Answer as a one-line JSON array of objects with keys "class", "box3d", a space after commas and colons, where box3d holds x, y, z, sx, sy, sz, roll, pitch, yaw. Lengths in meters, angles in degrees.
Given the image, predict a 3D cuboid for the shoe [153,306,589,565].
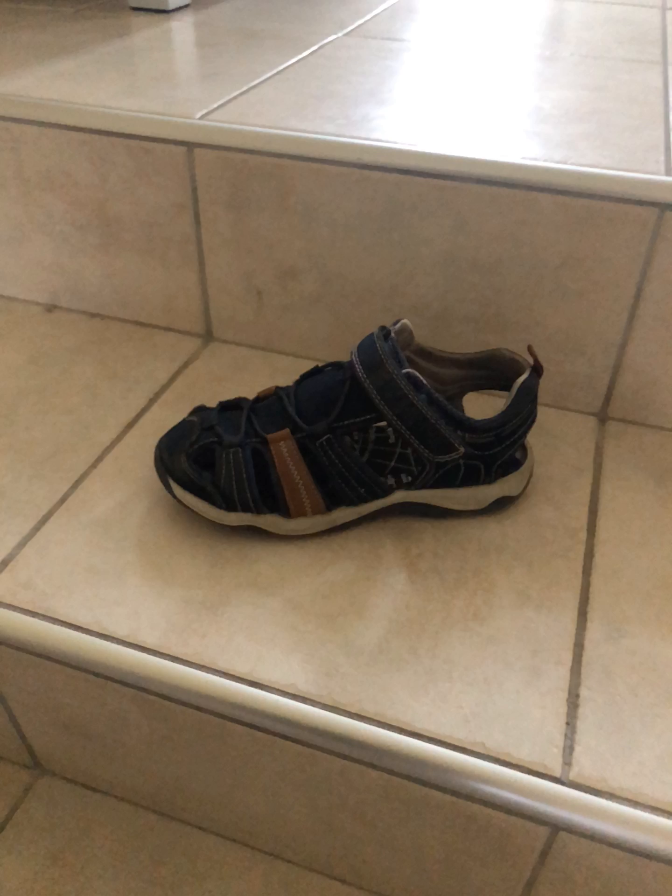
[{"class": "shoe", "box3d": [0.015, -0.010, 0.435, 0.220, 0.099, 0.090, -5, 39, -7]}]
